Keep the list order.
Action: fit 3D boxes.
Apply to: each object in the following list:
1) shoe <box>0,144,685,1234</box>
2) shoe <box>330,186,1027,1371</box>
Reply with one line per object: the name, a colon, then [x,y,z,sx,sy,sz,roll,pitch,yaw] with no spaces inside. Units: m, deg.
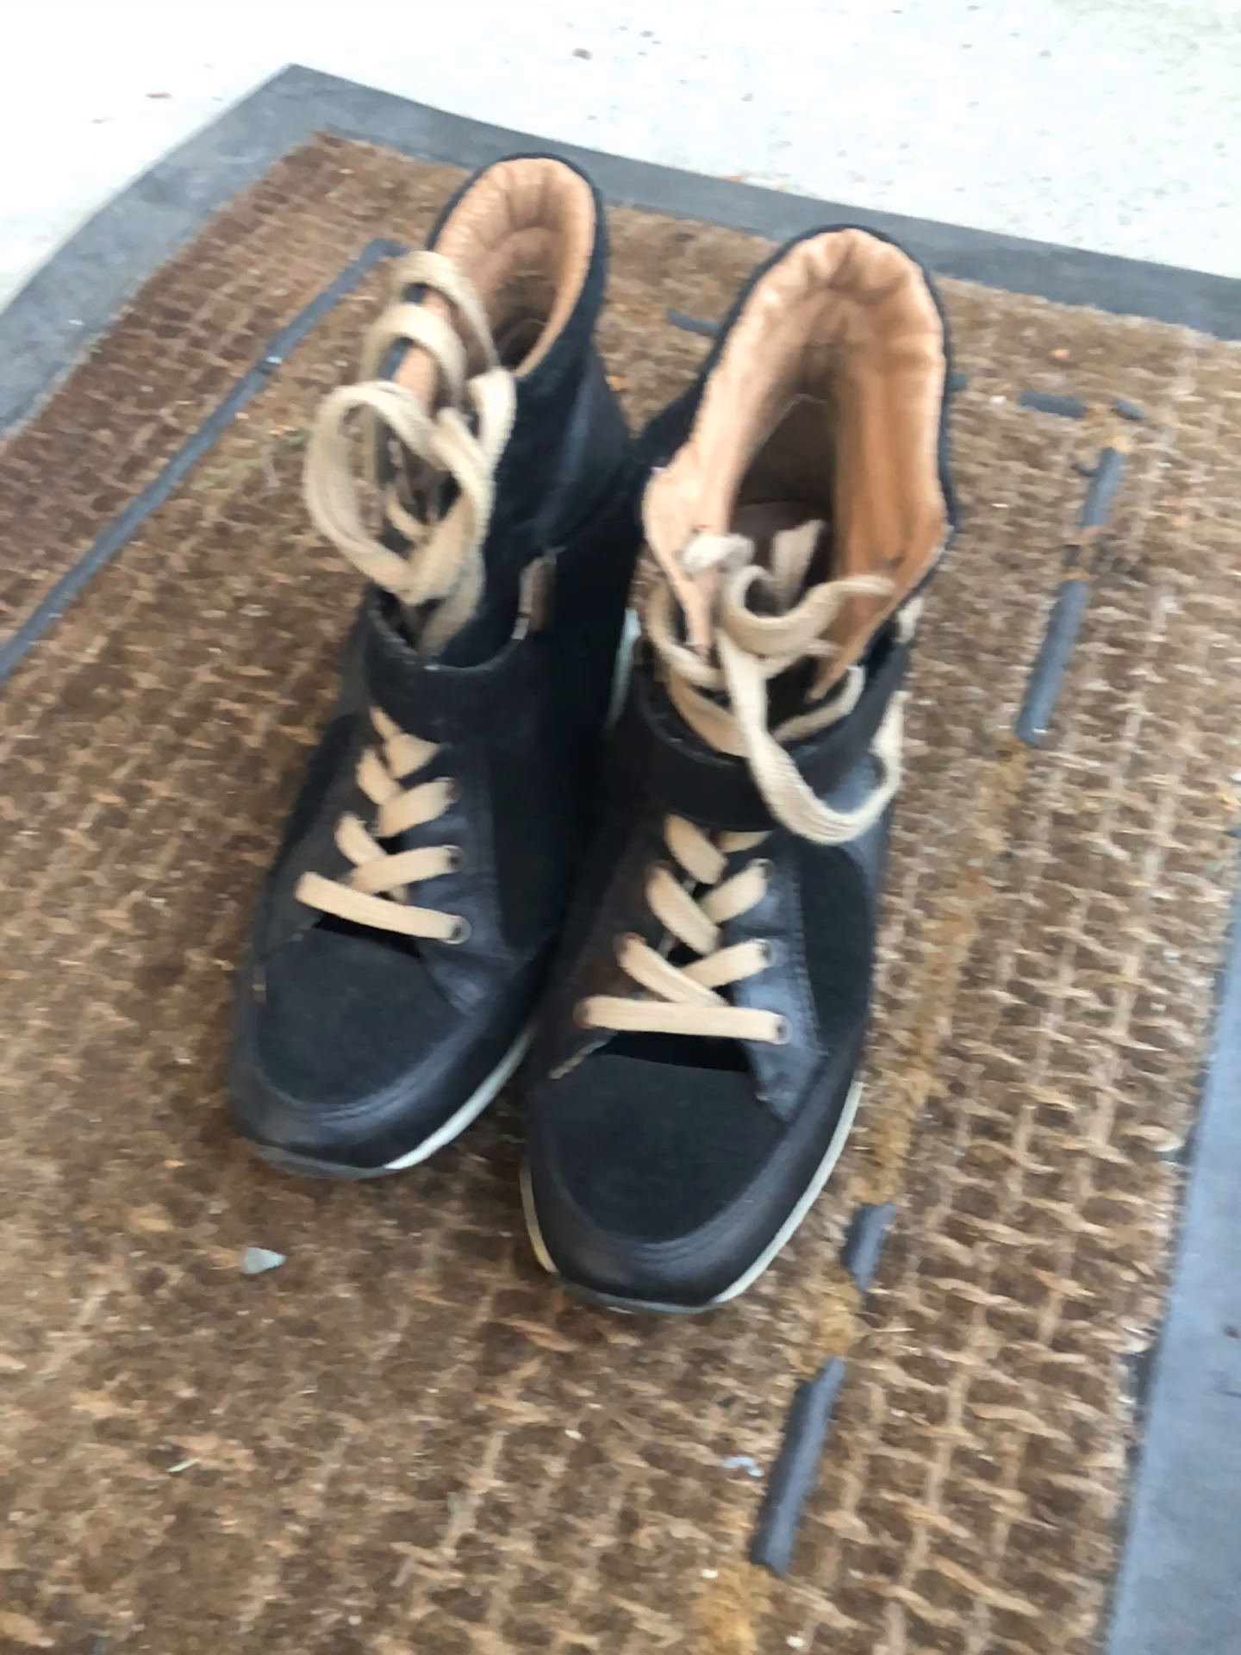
shoe: [-0.053,-0.040,0.365,0.090,0.159,0.231,11,56,11]
shoe: [0.030,-0.017,0.345,0.090,0.159,0.241,11,56,11]
